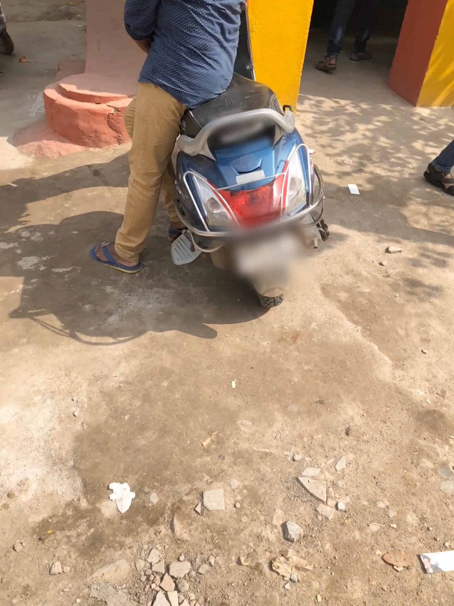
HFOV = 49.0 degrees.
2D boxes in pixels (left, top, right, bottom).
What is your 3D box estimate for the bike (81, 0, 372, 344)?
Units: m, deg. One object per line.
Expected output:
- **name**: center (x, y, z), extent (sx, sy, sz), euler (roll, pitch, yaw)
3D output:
- **bike**: center (-0.196, -0.837, 2.207), extent (0.625, 1.187, 1.640), euler (-7, 41, -15)
